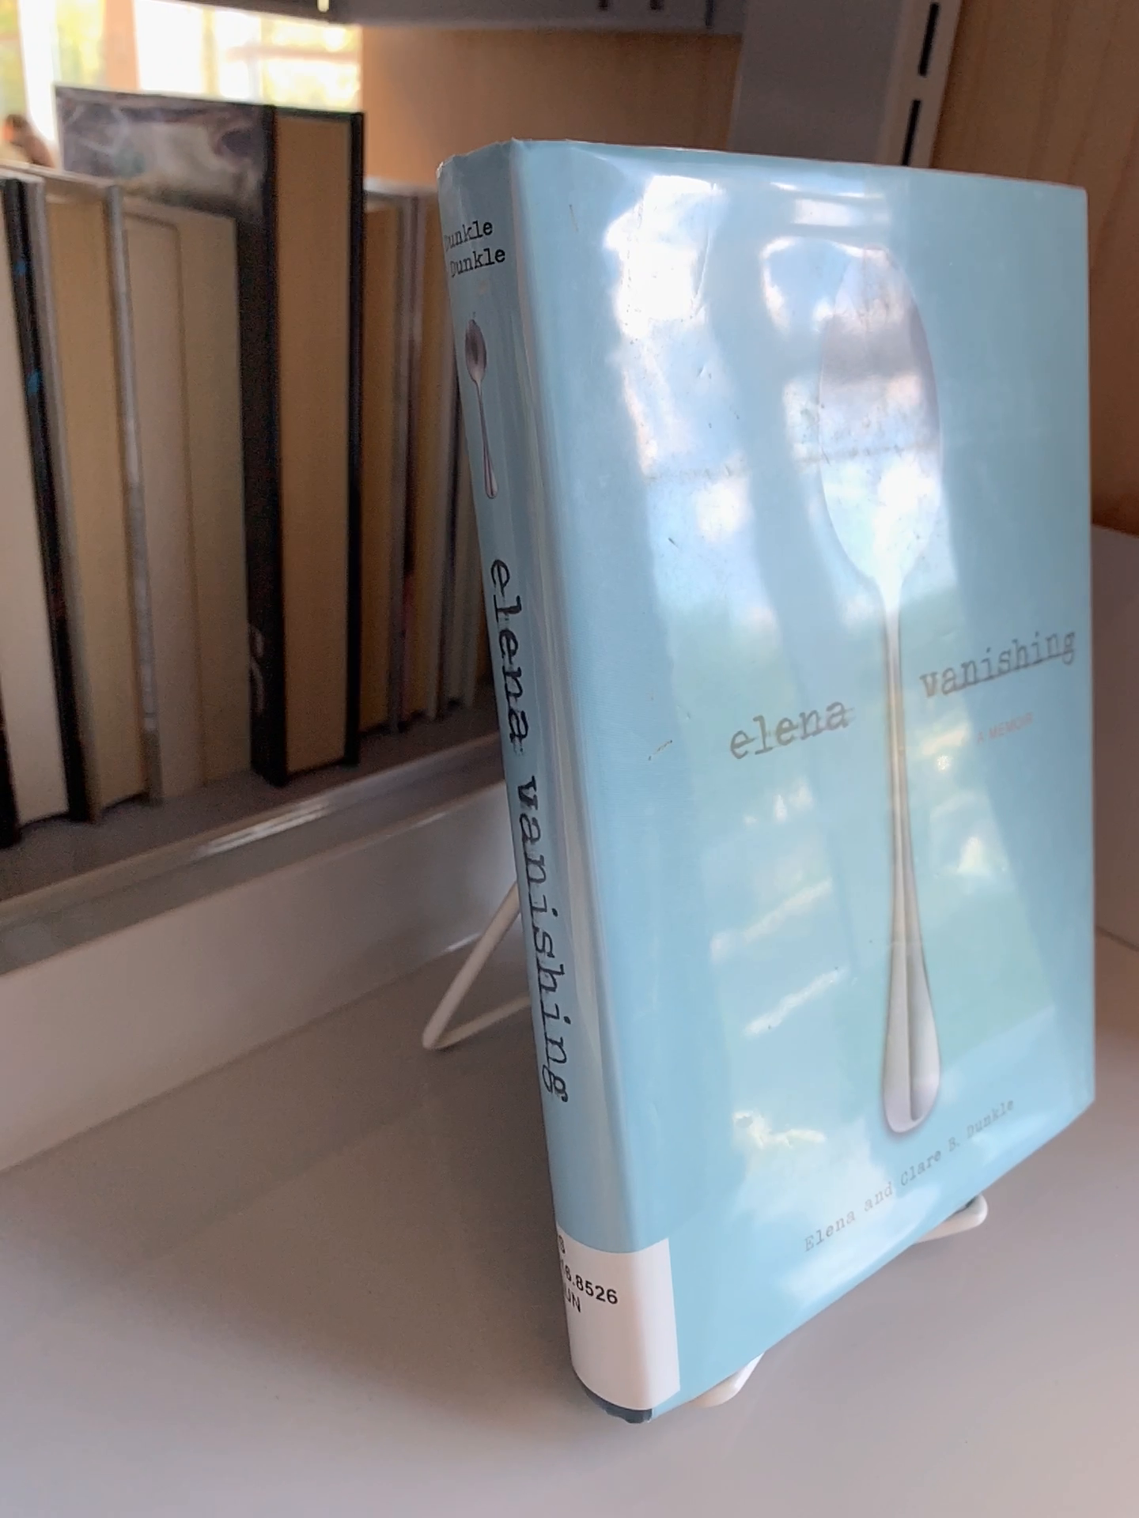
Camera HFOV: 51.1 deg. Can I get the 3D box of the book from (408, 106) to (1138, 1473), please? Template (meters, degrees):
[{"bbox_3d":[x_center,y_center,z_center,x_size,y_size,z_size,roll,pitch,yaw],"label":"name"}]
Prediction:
[{"bbox_3d":[0.060,-0.003,0.230,0.159,0.203,0.035,-16,16,-35],"label":"book"}]
